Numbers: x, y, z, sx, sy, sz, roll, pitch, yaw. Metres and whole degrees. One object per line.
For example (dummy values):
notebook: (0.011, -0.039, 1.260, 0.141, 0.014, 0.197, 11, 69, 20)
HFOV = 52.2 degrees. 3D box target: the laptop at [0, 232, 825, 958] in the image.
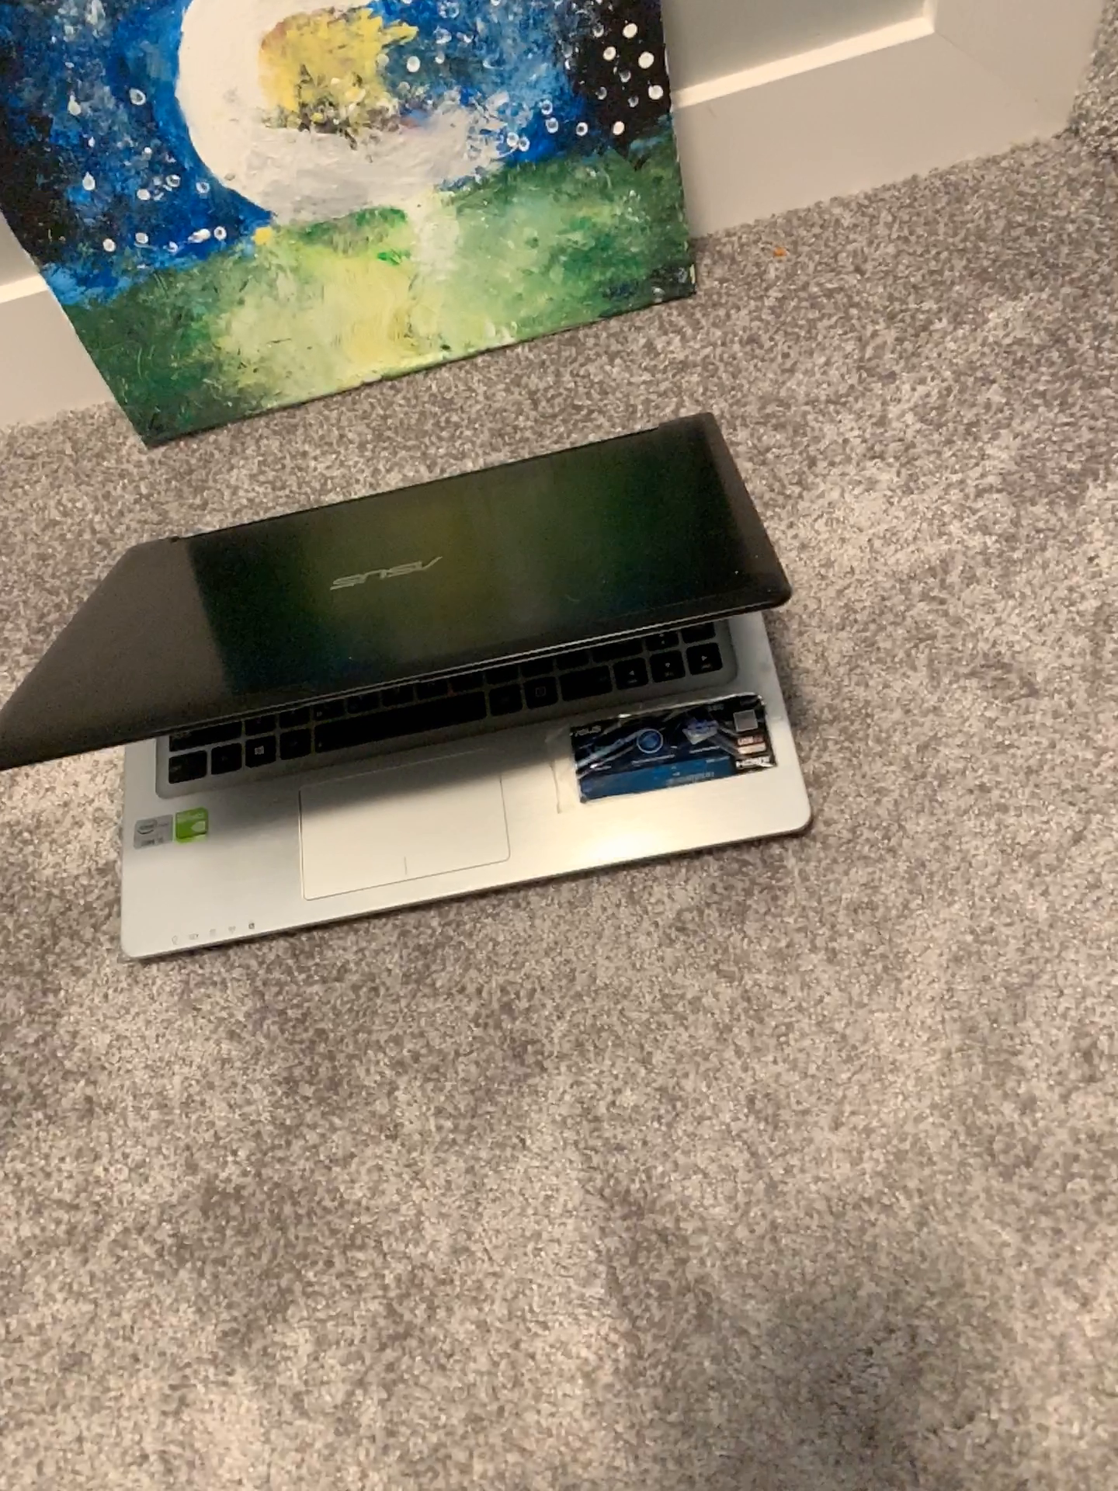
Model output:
laptop: (-0.080, -0.066, 0.560, 0.355, 0.134, 0.253, -12, 64, 6)
